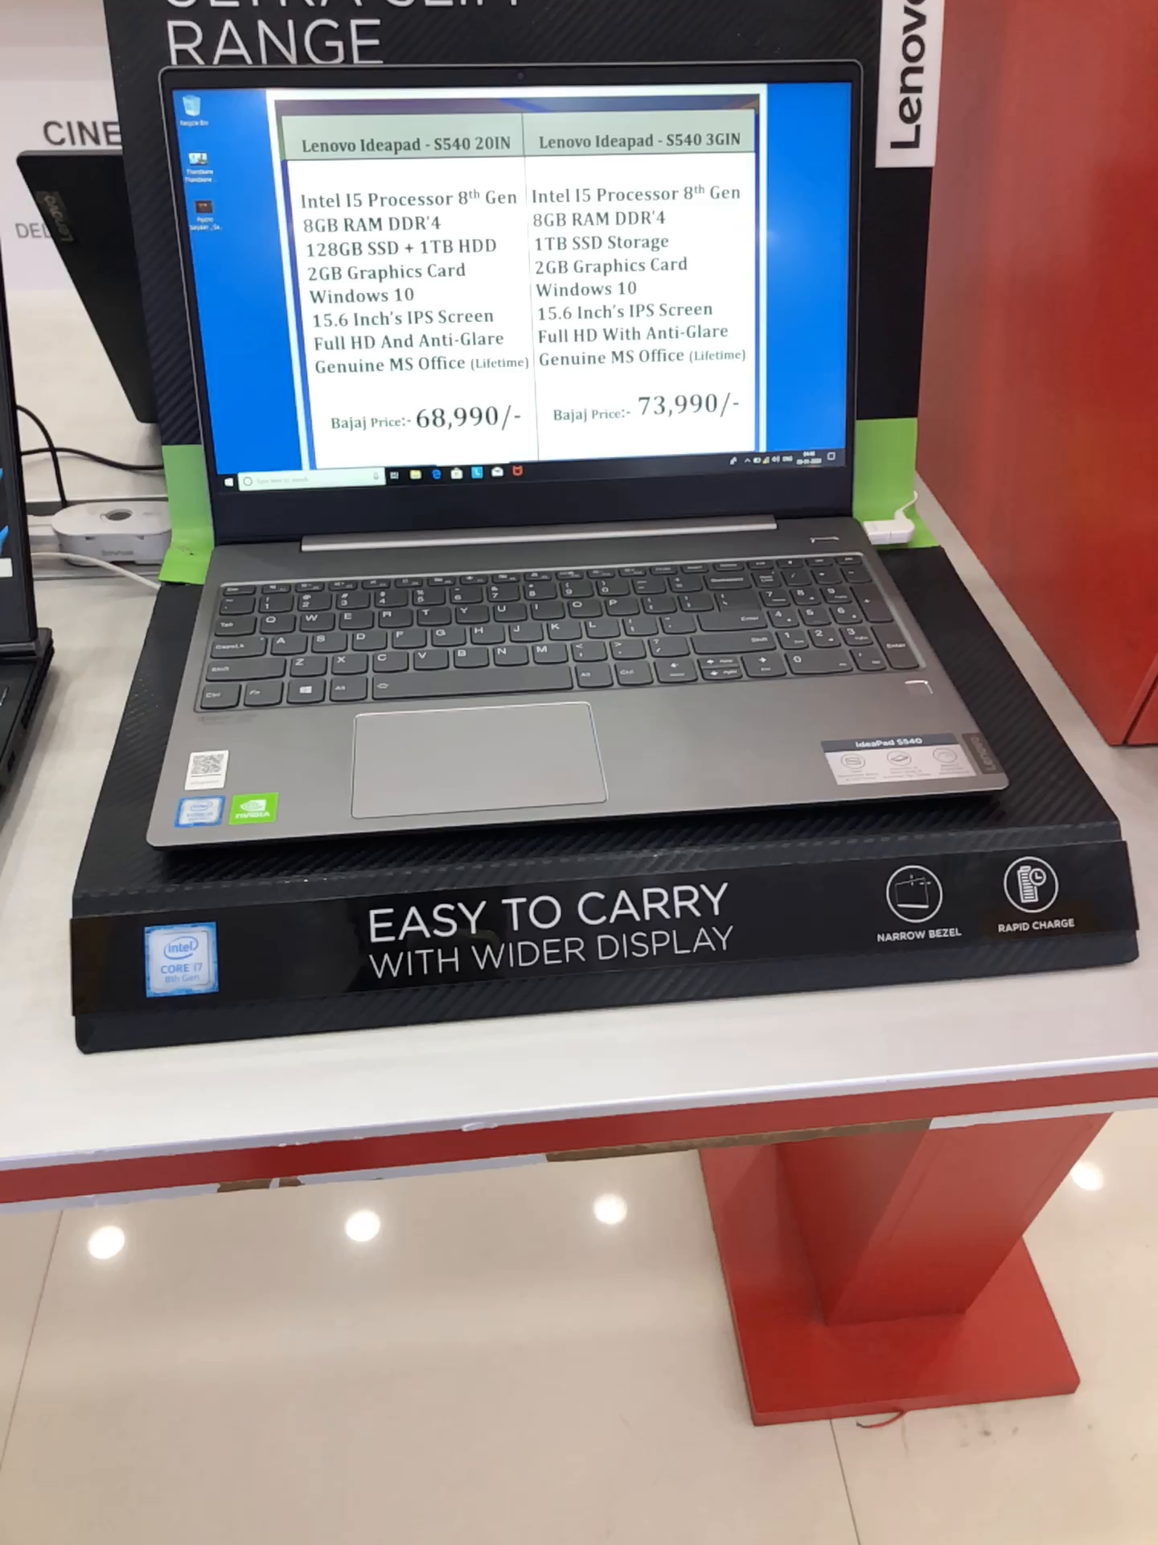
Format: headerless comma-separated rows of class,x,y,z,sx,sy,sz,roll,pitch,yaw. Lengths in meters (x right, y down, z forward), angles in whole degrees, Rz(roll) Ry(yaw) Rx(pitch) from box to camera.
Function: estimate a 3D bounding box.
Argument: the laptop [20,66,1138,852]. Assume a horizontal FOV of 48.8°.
laptop,-0.010,-0.163,0.564,0.336,0.194,0.326,-4,41,-6
